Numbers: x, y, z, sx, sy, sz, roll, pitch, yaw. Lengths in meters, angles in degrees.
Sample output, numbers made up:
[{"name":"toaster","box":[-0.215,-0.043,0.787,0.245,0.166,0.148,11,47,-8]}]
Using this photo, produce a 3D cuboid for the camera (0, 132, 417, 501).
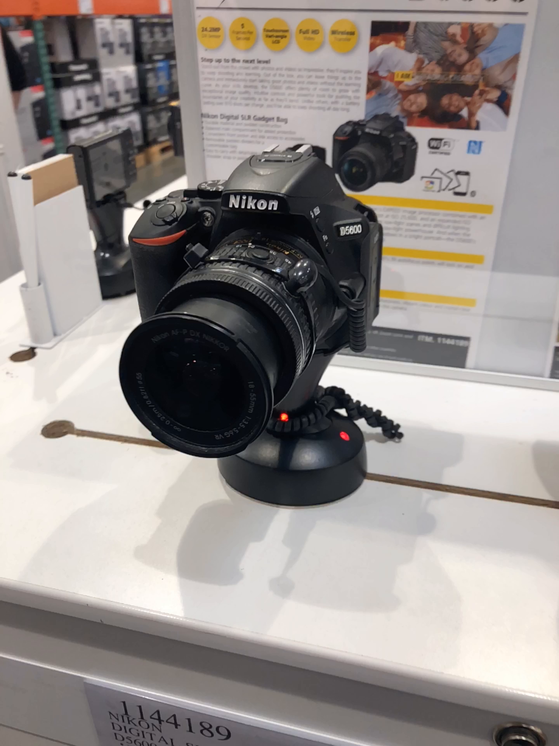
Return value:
[{"name":"camera","box":[-0.021,-0.044,0.289,0.140,0.099,0.161,8,31,16]}]
